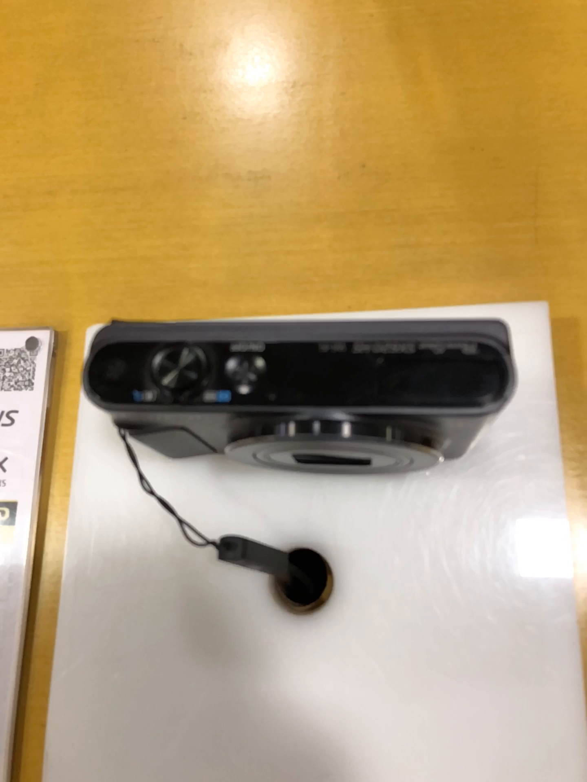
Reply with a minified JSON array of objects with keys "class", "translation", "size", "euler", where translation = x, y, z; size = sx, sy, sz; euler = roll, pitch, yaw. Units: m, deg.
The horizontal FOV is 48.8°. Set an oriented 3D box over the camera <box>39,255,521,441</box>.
[{"class":"camera","translation":[-0.002,-0.007,0.179],"size":[0.110,0.060,0.030],"euler":[-2,75,6]}]
